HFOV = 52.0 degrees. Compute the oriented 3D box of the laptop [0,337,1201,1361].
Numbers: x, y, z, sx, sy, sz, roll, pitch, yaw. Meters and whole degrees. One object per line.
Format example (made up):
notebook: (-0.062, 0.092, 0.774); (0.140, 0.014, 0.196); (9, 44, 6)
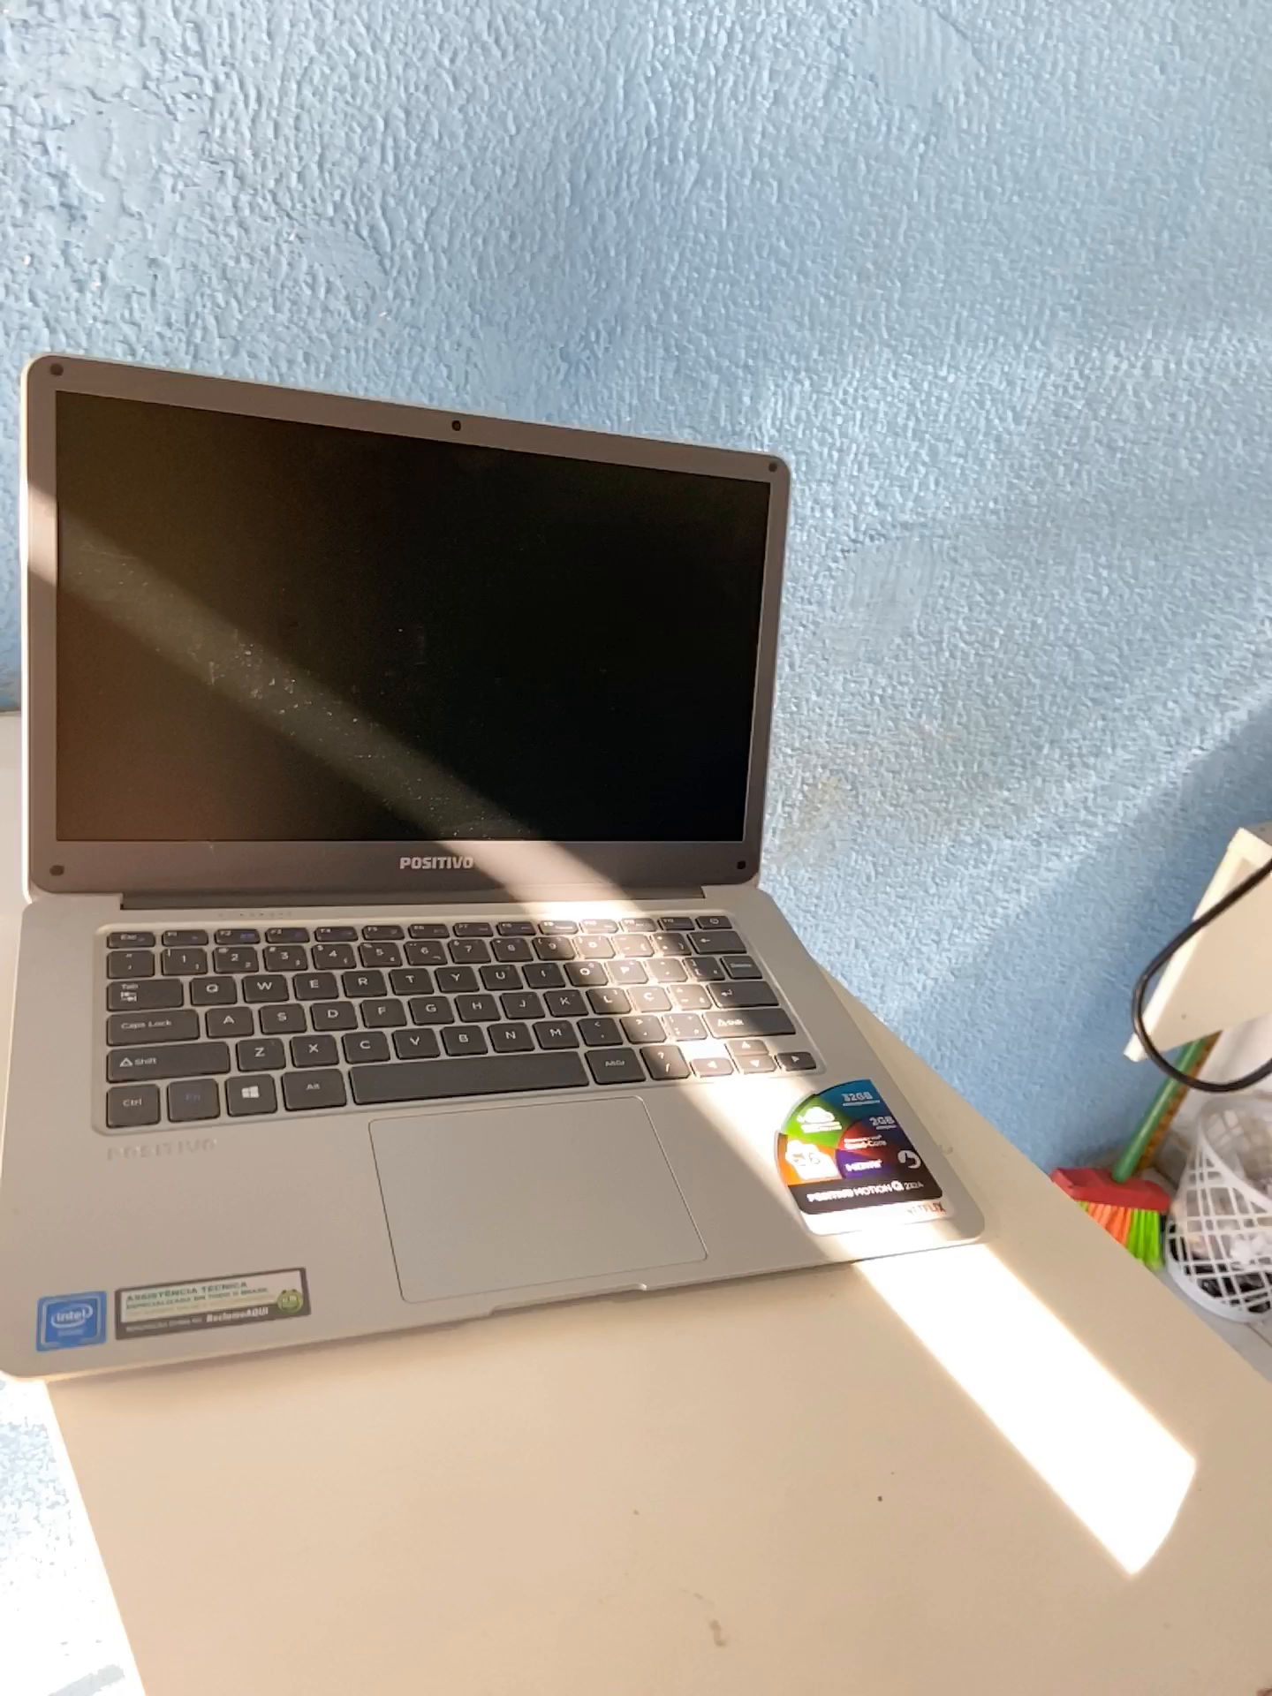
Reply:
laptop: (-0.051, -0.027, 0.496); (0.333, 0.189, 0.312); (0, 34, -24)
